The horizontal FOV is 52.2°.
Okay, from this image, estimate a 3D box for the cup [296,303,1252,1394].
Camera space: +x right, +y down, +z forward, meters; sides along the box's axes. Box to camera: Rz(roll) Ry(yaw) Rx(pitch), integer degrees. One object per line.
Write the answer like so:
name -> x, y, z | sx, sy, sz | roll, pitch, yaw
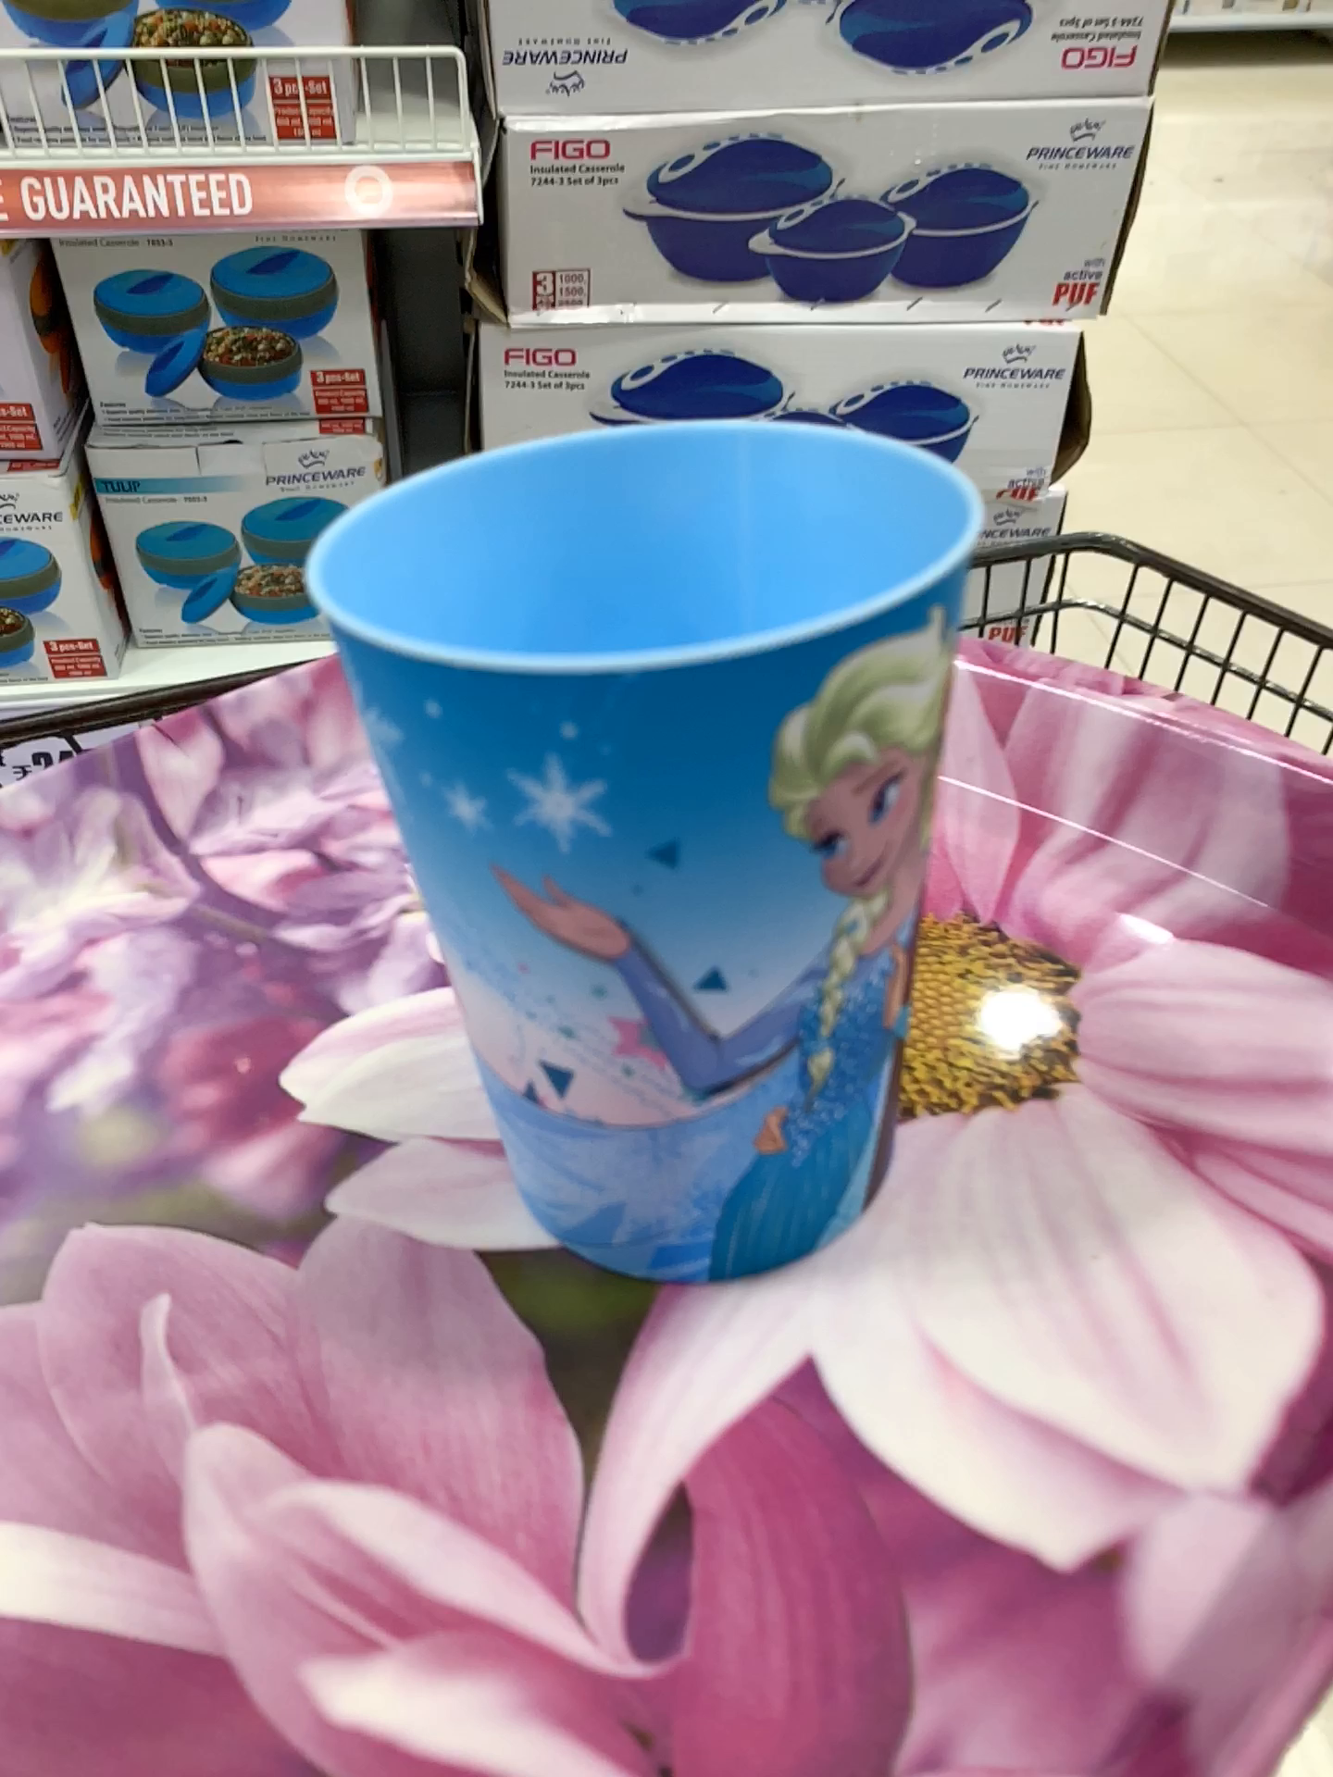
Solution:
cup -> 0.008, -0.005, 0.174 | 0.080, 0.109, 0.060 | -14, 41, -16
